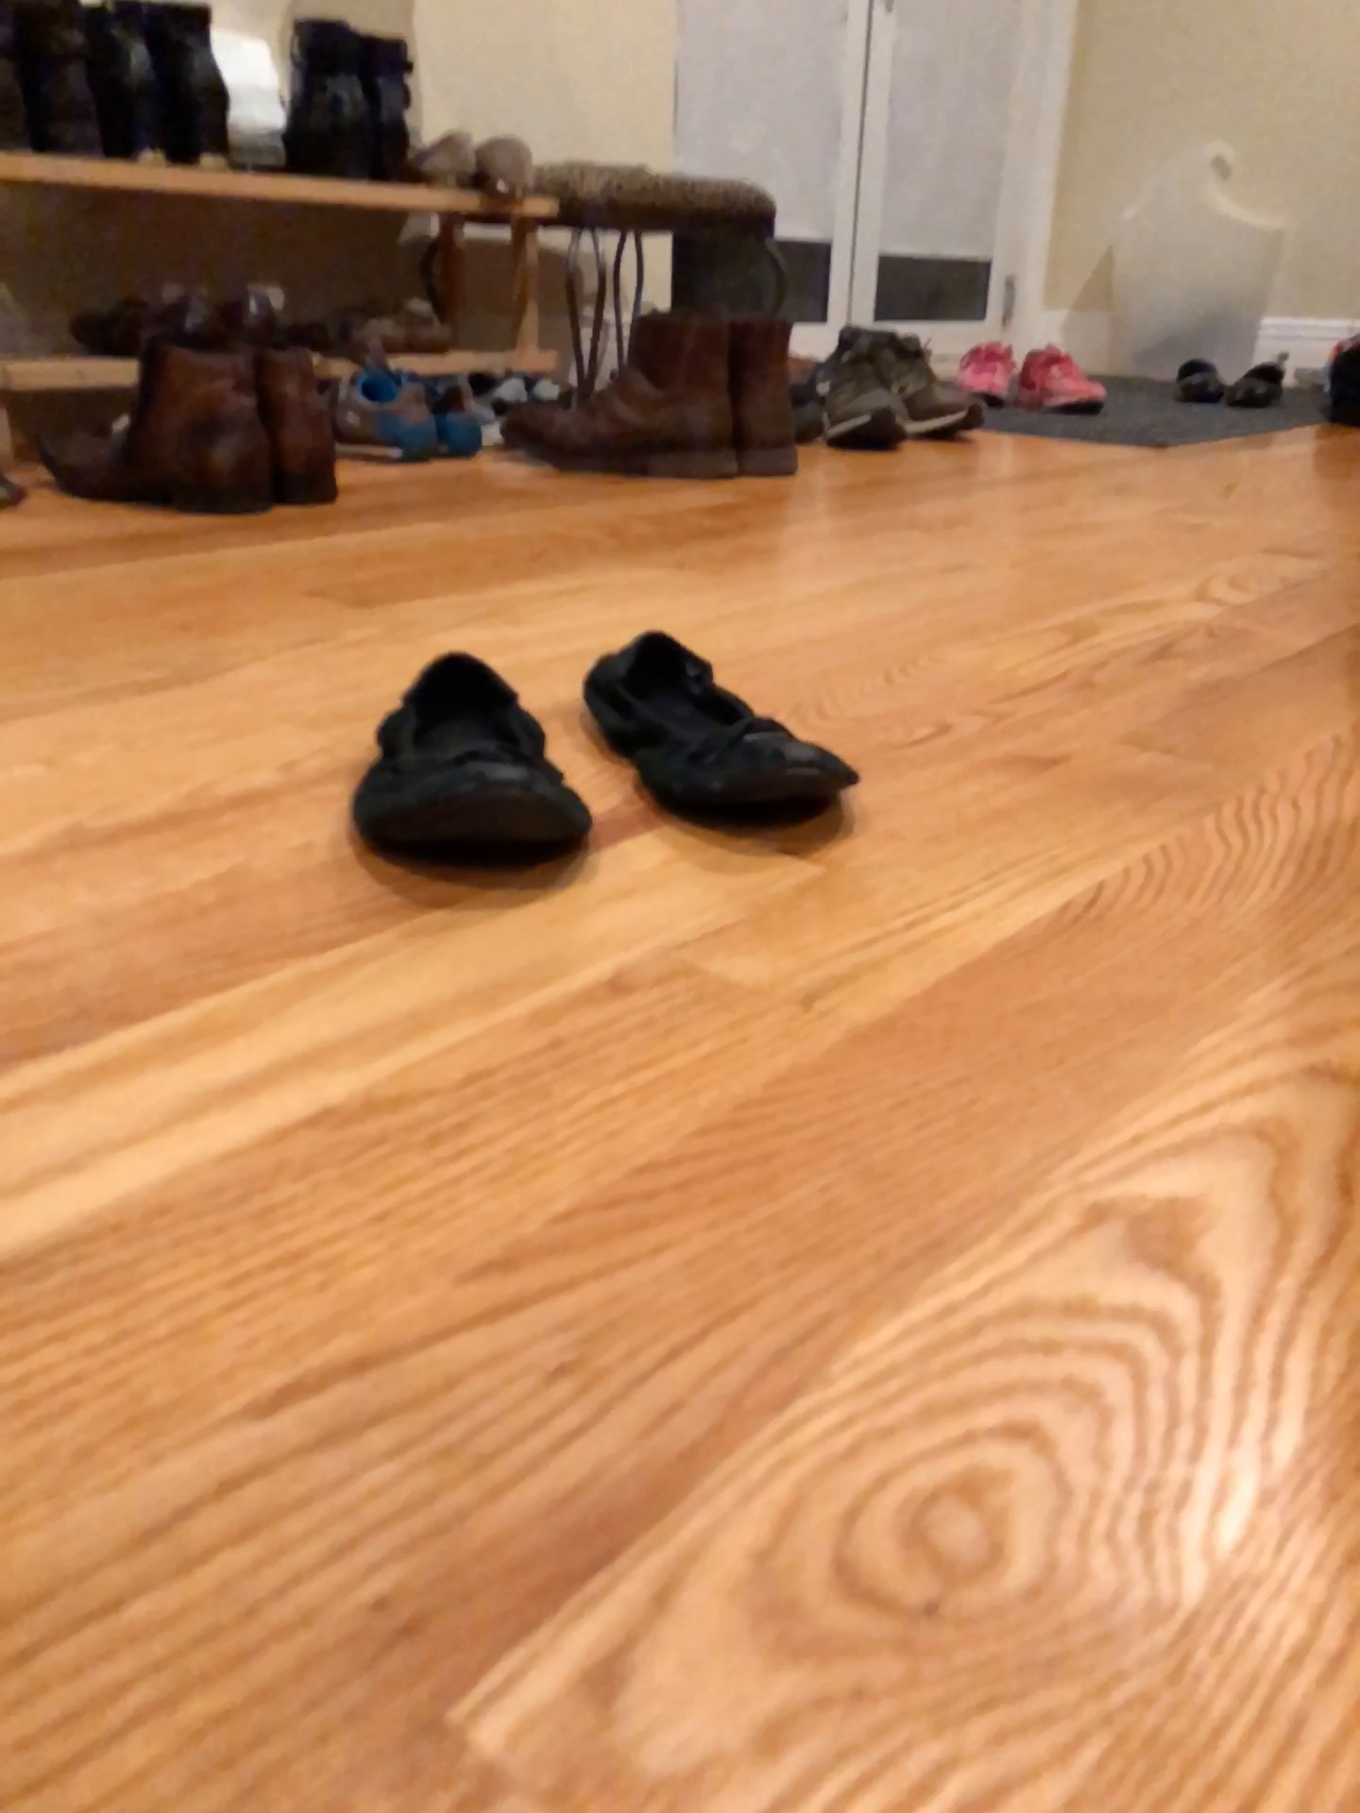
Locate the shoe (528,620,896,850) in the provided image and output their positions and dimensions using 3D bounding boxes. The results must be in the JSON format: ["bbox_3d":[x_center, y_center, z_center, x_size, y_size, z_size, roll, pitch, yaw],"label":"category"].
[{"bbox_3d":[0.005,-0.091,0.709,0.093,0.046,0.221,-8,25,-22],"label":"shoe"}]

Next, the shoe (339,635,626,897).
[{"bbox_3d":[-0.096,-0.072,0.658,0.100,0.050,0.221,-4,23,-14],"label":"shoe"}]
